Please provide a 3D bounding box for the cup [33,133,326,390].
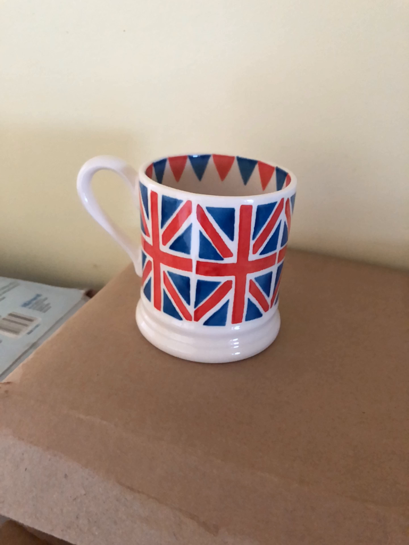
[{"bbox_3d":[-0.007,-0.017,0.270,0.130,0.099,0.101,10,29,17],"label":"cup"}]
